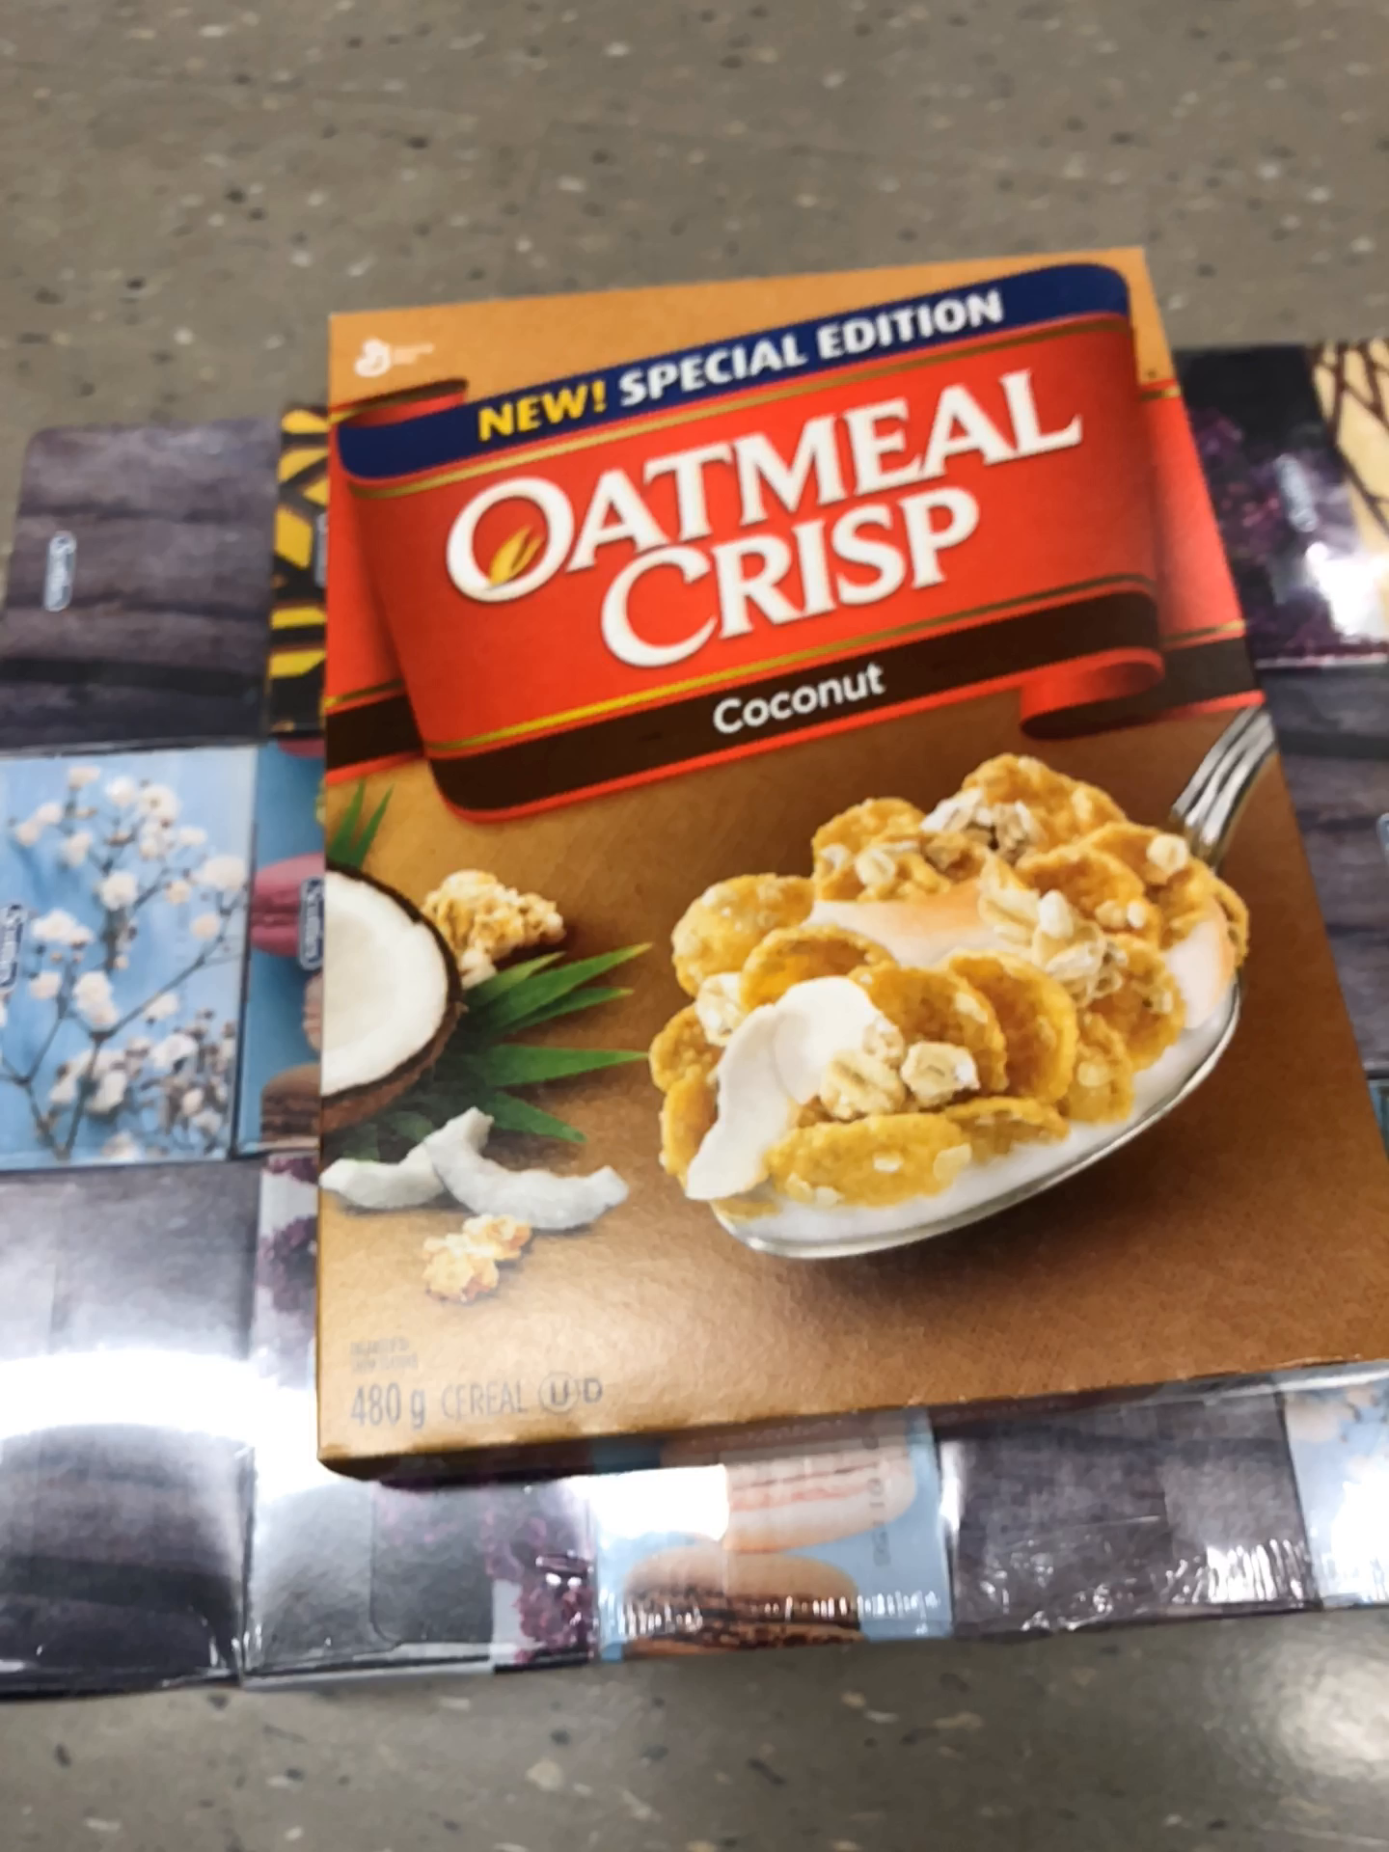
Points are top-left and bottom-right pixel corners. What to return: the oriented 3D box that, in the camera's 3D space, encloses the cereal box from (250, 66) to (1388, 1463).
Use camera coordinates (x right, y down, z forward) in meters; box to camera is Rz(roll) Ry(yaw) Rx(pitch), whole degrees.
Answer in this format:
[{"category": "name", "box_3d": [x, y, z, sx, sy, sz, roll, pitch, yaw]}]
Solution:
[{"category": "cereal box", "box_3d": [0.018, -0.052, 0.343, 0.210, 0.060, 0.290, -9, 63, 2]}]
